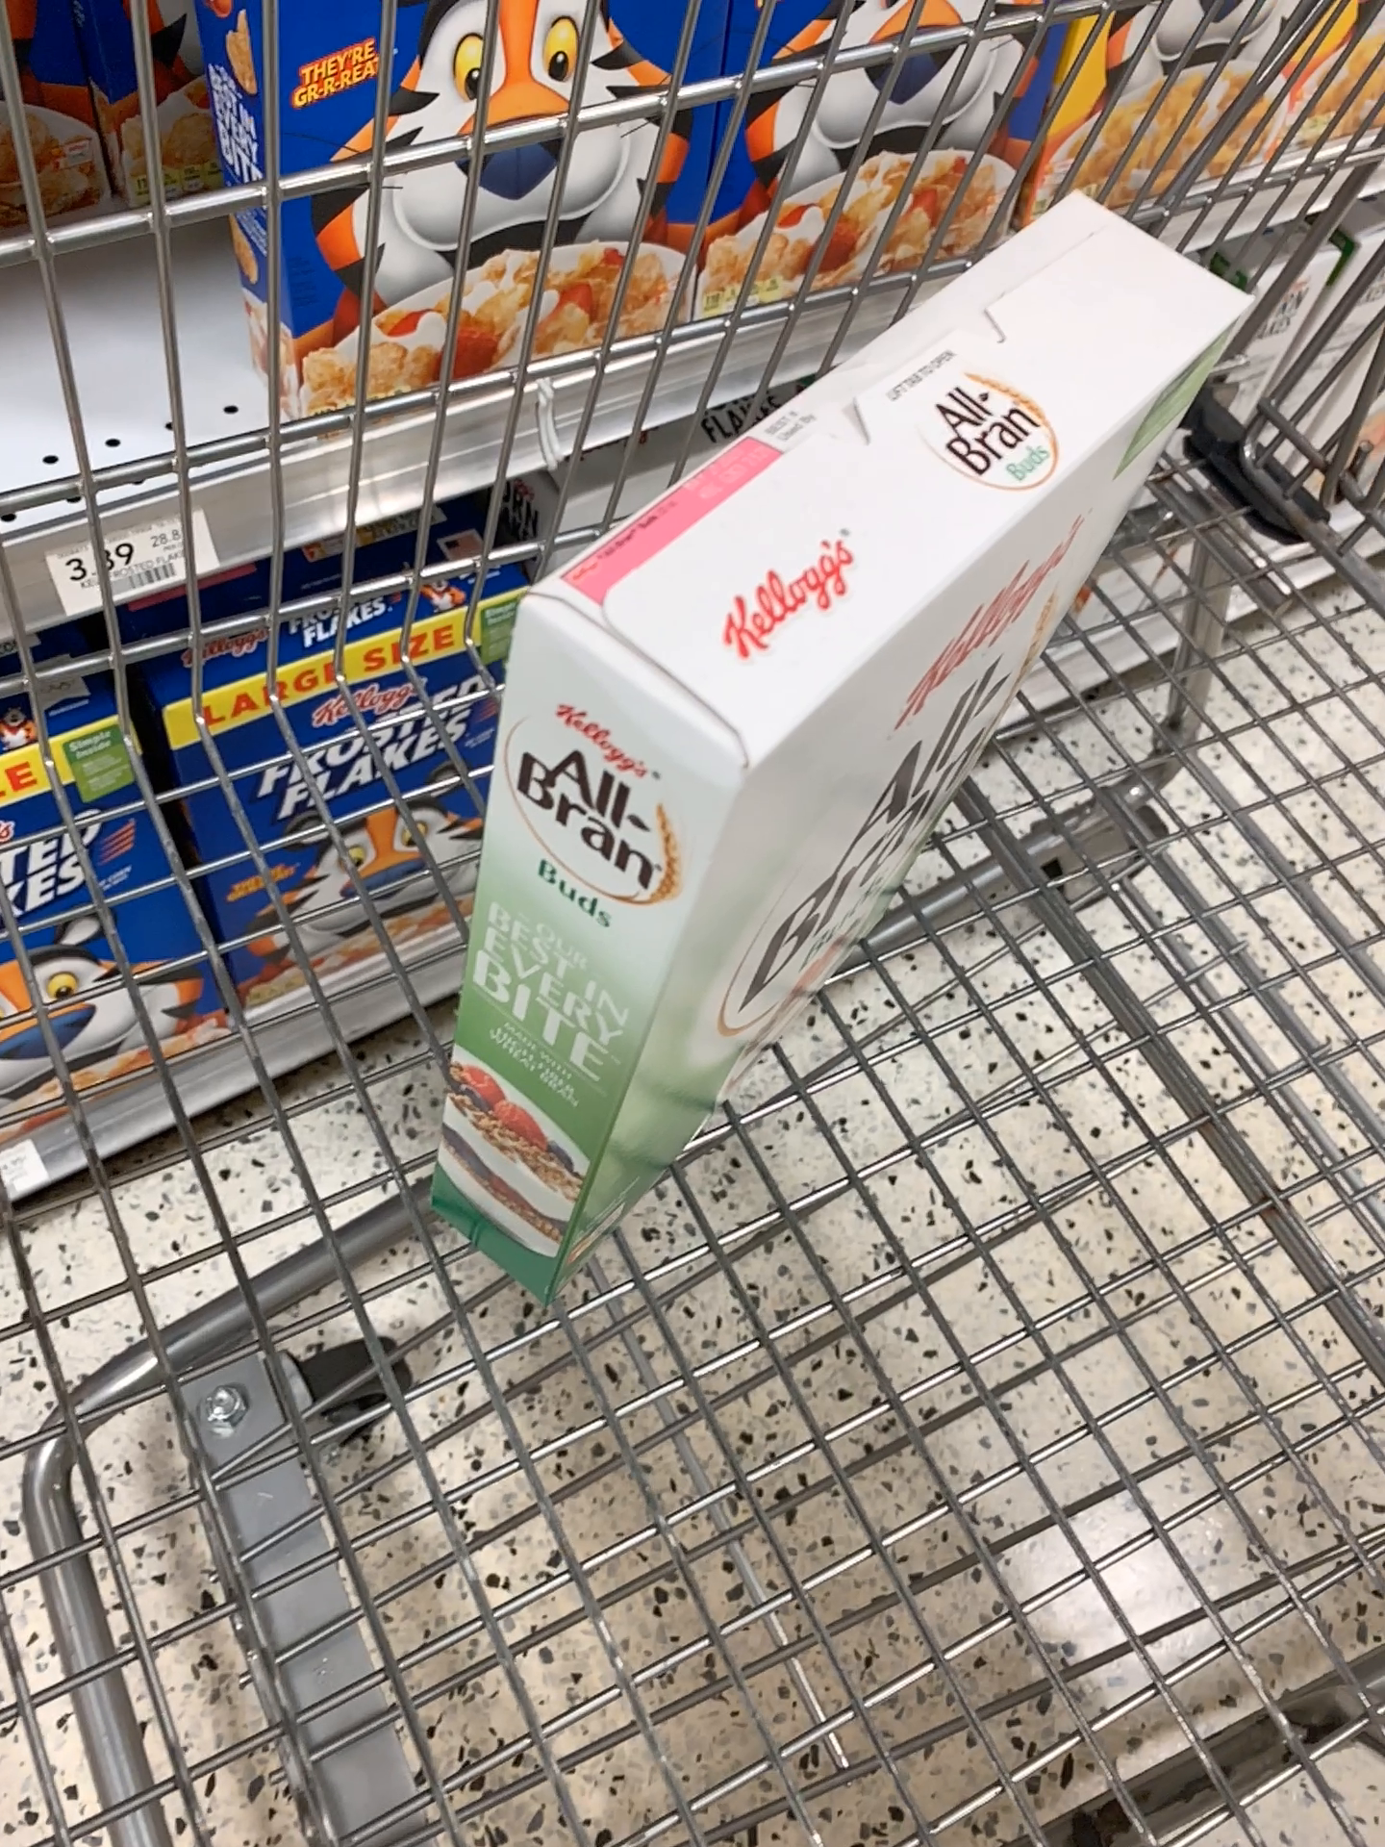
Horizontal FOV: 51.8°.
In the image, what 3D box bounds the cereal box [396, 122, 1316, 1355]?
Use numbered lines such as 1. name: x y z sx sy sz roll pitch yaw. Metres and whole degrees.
1. cereal box: 0.018 -0.019 0.371 0.050 0.298 0.201 38 58 10
